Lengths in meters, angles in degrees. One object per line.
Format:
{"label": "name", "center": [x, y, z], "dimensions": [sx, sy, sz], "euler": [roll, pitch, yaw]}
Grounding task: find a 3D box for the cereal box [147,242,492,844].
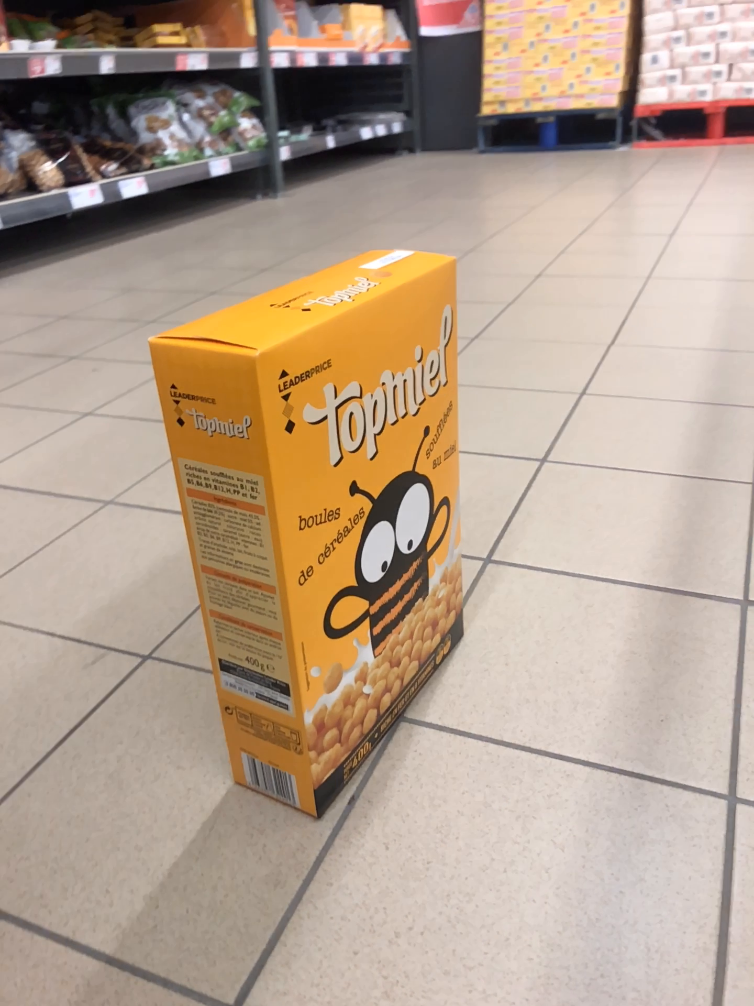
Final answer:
{"label": "cereal box", "center": [-0.007, 0.010, 0.471], "dimensions": [0.060, 0.269, 0.211], "euler": [12, 31, 30]}
